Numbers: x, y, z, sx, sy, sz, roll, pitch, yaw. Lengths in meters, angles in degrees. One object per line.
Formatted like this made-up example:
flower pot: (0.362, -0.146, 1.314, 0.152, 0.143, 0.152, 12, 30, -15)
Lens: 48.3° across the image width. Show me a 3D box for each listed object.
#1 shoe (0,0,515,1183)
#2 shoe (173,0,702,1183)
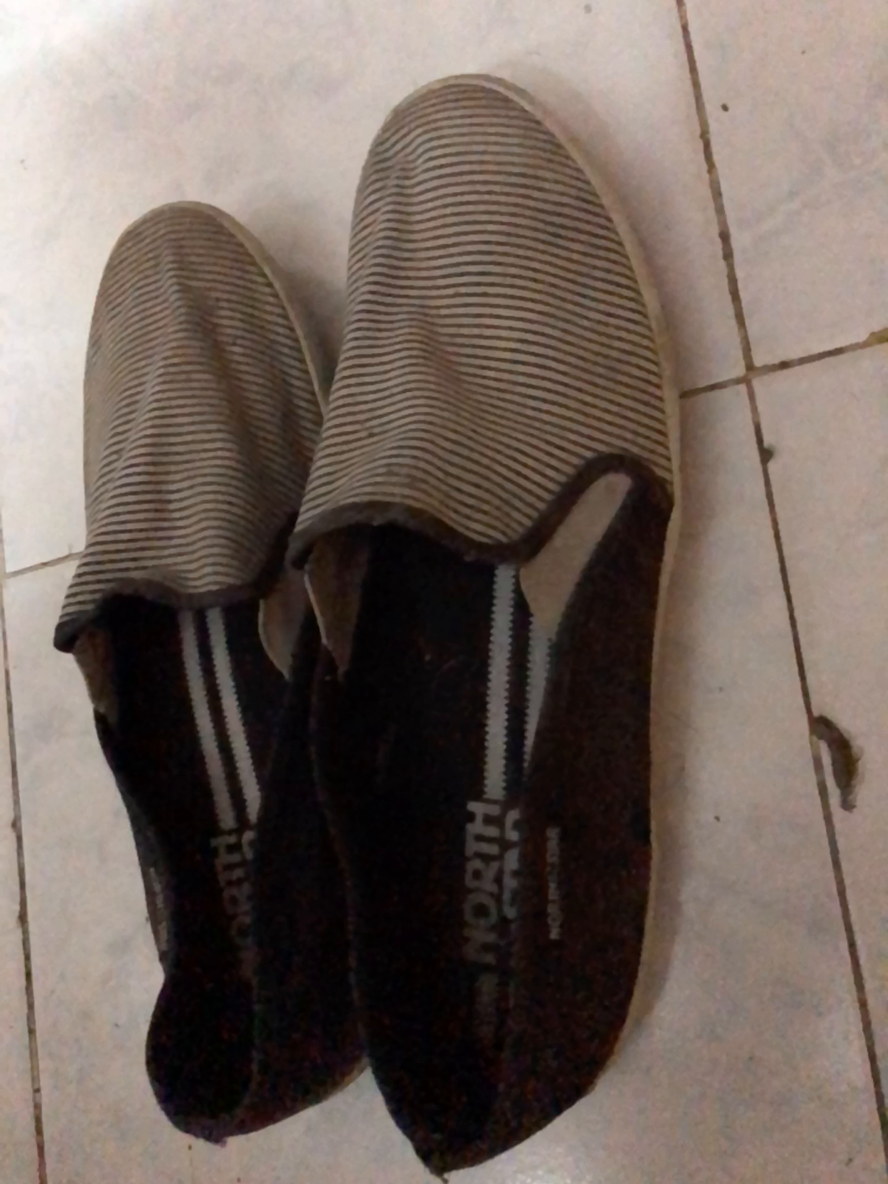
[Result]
shoe: (-0.073, 0.002, 0.319, 0.110, 0.090, 0.330, -14, 79, 24)
shoe: (-0.002, -0.008, 0.277, 0.110, 0.090, 0.340, -5, 83, 25)
